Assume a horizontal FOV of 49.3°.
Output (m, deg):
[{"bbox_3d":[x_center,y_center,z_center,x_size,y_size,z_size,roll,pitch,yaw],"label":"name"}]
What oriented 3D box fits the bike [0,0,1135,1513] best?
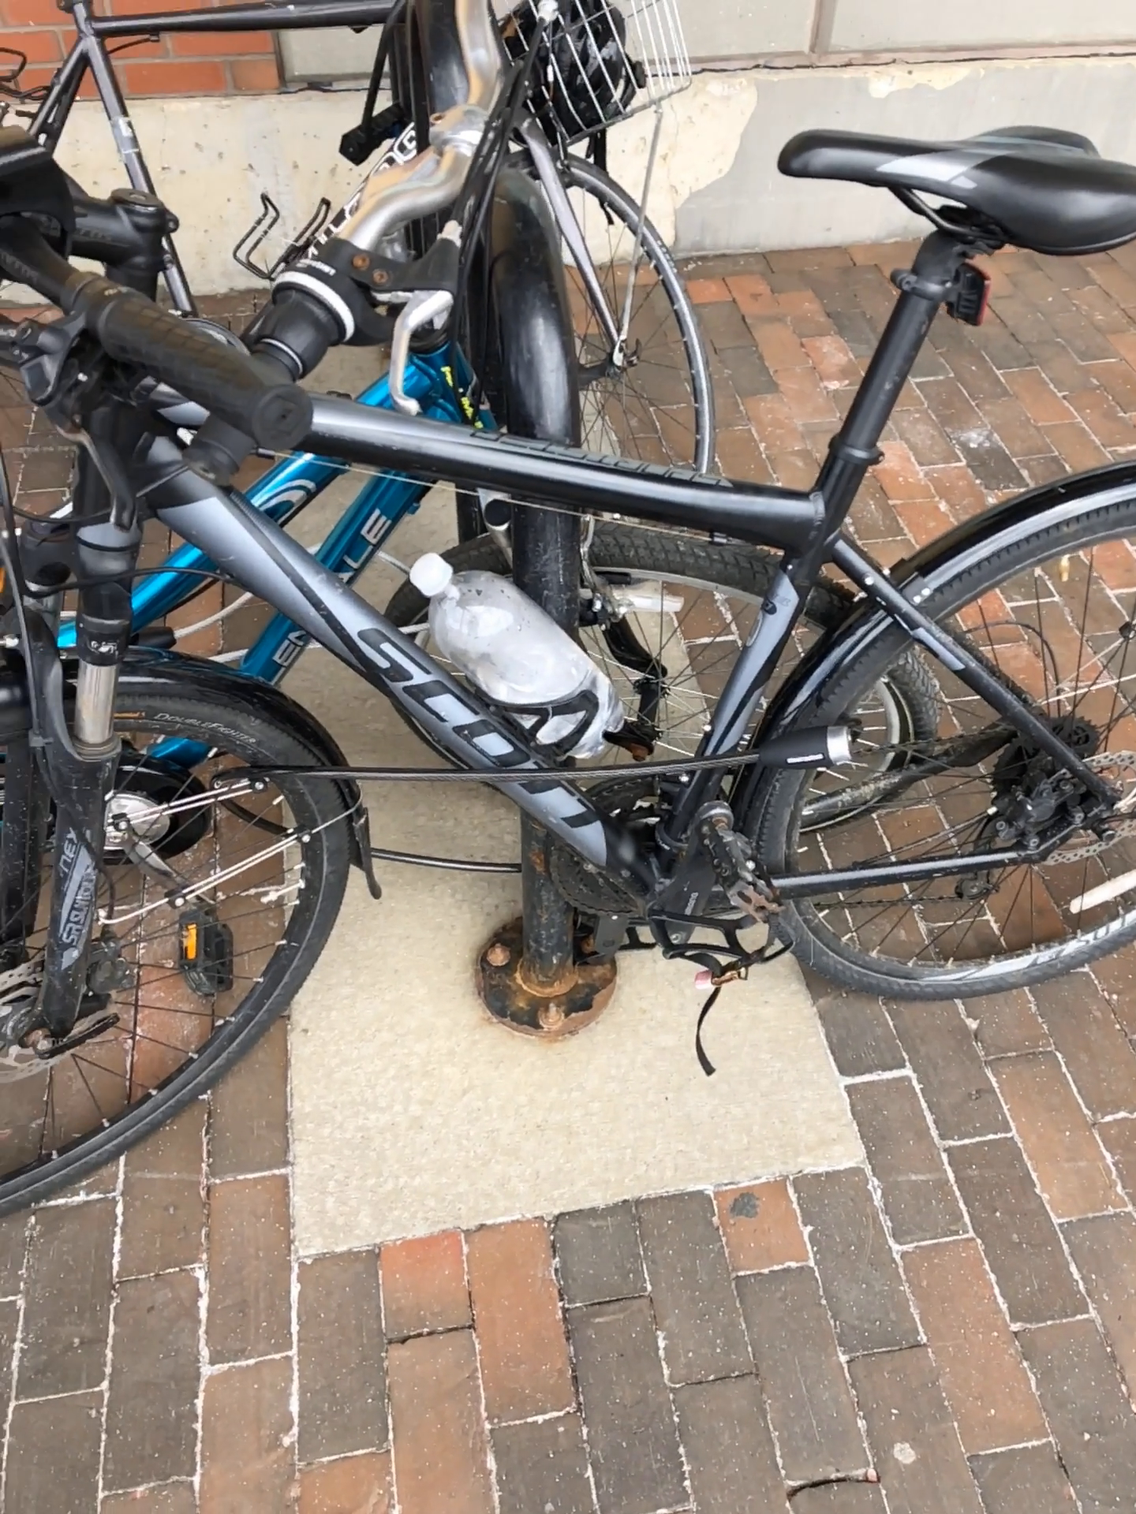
[{"bbox_3d":[-0.024,-0.012,1.031,1.509,0.940,0.676,-14,50,-10],"label":"bike"}]
